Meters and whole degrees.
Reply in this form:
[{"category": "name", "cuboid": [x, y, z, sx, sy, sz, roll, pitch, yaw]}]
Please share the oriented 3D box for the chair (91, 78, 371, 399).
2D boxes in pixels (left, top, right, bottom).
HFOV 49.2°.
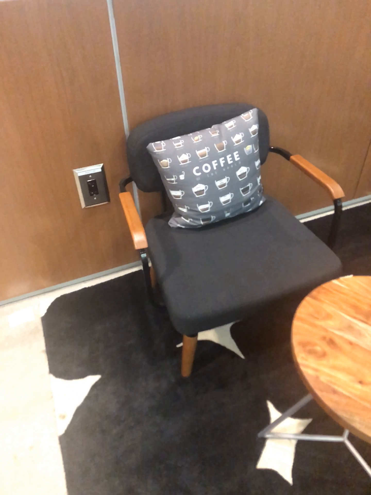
[{"category": "chair", "cuboid": [0.164, -0.059, 1.352, 0.732, 0.714, 0.574, -15, 40, -13]}]
